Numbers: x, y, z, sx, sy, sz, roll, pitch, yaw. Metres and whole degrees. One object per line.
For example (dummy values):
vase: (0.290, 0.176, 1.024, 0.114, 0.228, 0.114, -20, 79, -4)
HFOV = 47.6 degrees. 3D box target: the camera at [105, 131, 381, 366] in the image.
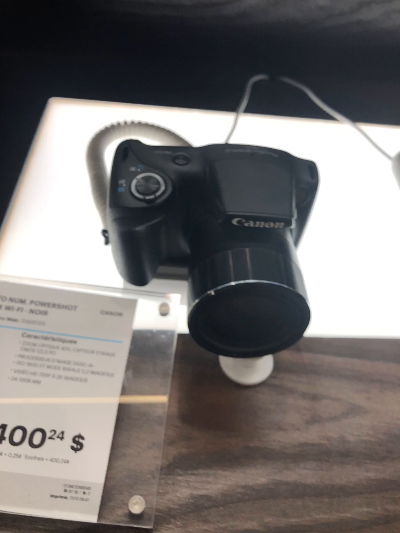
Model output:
camera: (0.010, -0.008, 0.218, 0.102, 0.074, 0.081, 0, 47, -8)
